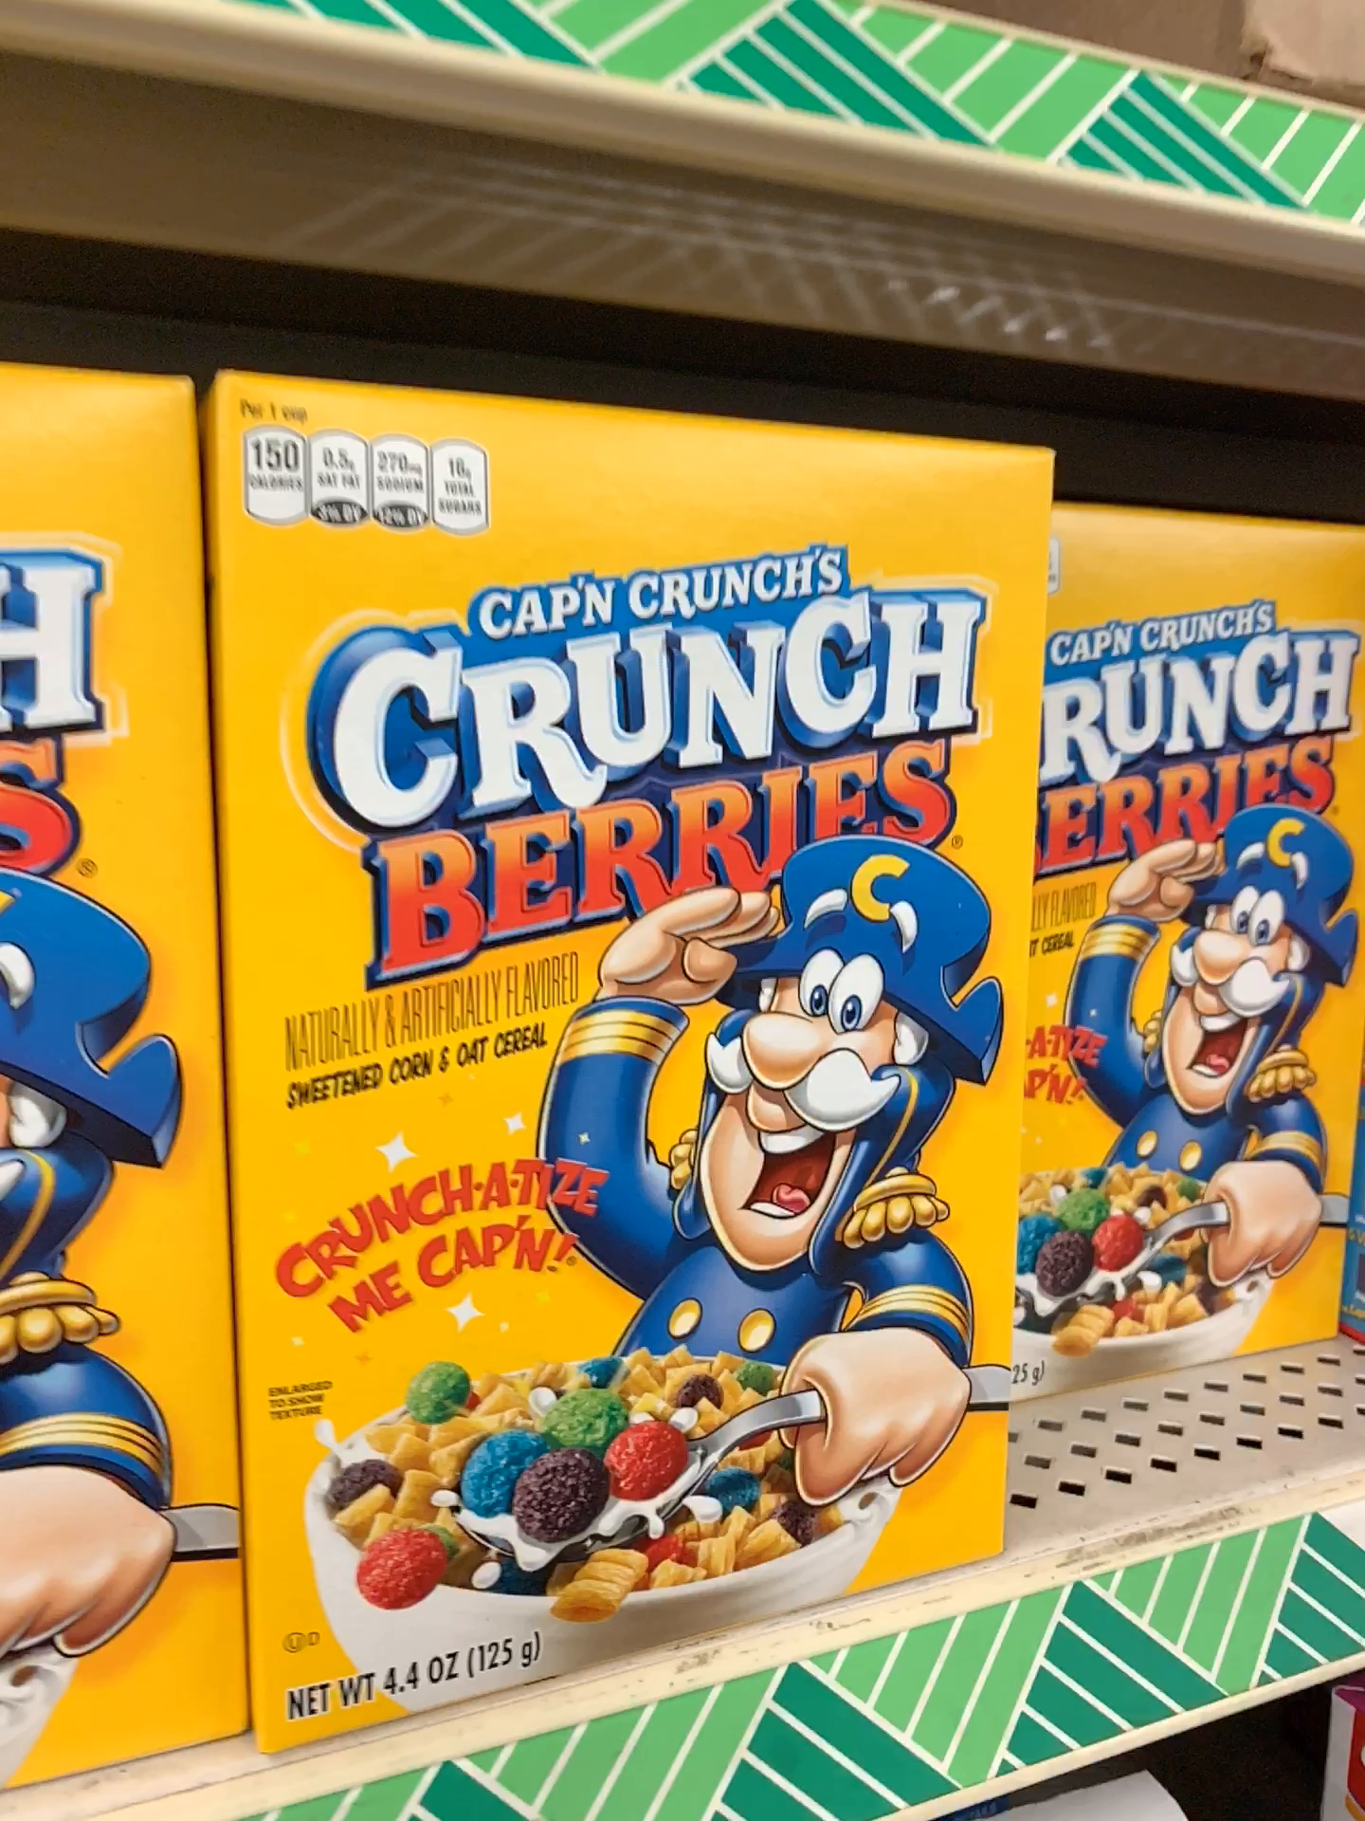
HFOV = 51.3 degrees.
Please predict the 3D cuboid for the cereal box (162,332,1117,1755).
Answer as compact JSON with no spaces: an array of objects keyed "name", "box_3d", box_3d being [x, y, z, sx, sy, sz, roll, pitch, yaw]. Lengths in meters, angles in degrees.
[{"name":"cereal box","box_3d":[-0.005,0.017,0.248,0.150,0.200,0.050,-3,8,-23]}]
